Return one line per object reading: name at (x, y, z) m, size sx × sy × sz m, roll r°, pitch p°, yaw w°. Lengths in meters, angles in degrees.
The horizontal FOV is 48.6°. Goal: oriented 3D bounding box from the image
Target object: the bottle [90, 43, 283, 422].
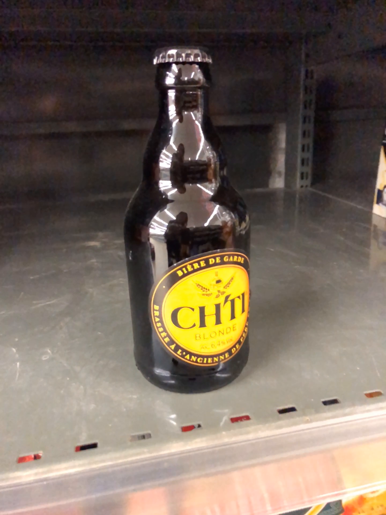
bottle at (-0.004, -0.015, 0.228) m, size 0.070 × 0.169 × 0.070 m, roll -2°, pitch 18°, yaw 1°
